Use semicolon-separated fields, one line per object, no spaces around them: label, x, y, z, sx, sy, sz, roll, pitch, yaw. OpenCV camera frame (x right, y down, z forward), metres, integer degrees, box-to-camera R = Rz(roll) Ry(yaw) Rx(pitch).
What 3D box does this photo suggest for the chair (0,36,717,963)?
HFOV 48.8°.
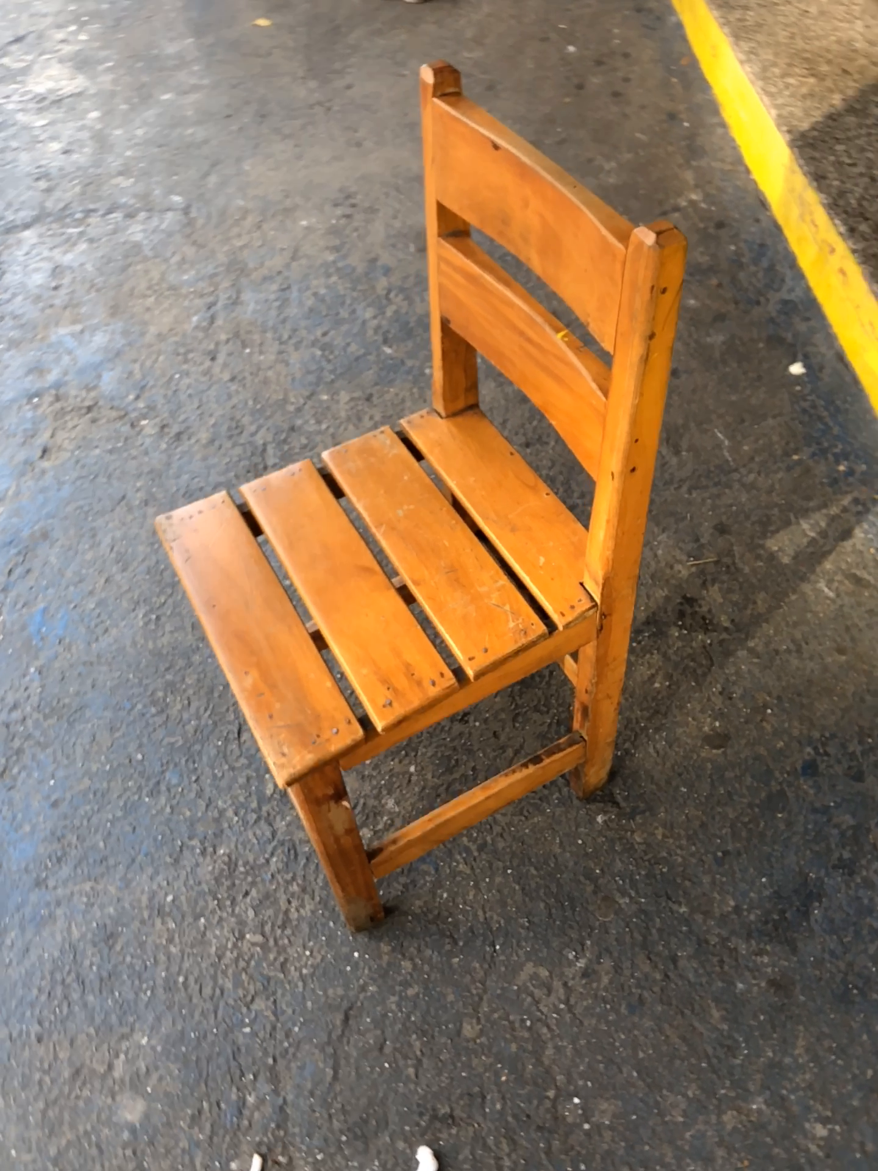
chair;-0.066;-0.023;1.019;0.440;0.805;0.402;-25;53;-13
